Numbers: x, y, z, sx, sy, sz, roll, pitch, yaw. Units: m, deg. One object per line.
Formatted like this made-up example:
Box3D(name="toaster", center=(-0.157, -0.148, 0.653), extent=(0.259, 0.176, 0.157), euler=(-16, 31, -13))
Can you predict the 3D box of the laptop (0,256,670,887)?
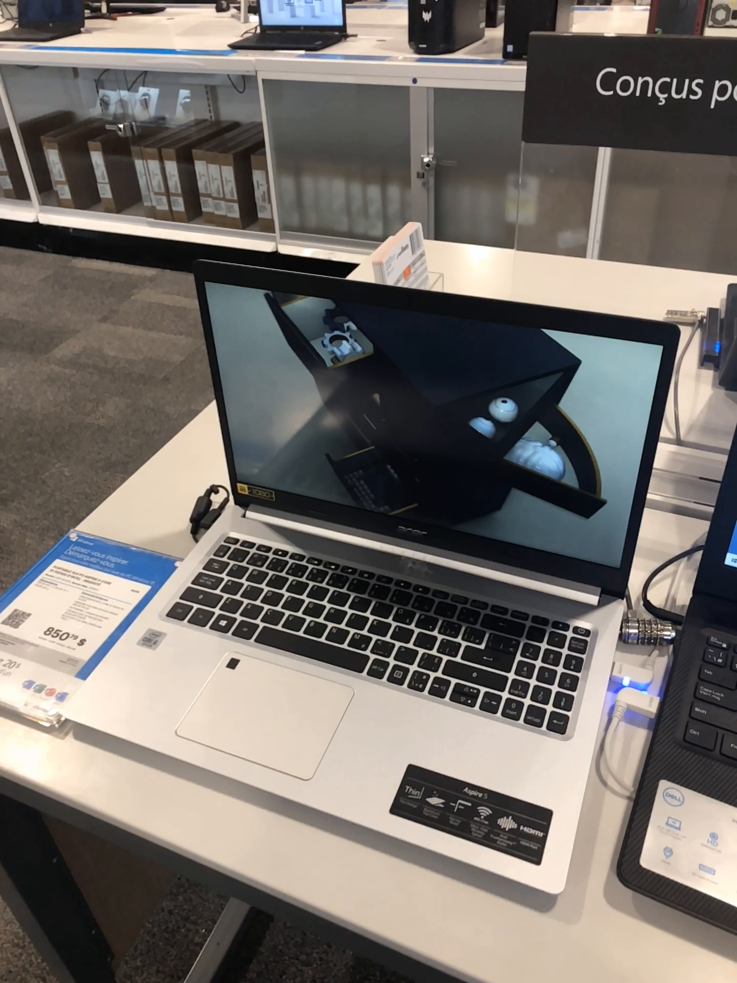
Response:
Box3D(name="laptop", center=(-0.013, 0.021, 0.551), extent=(0.349, 0.229, 0.267), euler=(12, 41, 20))
